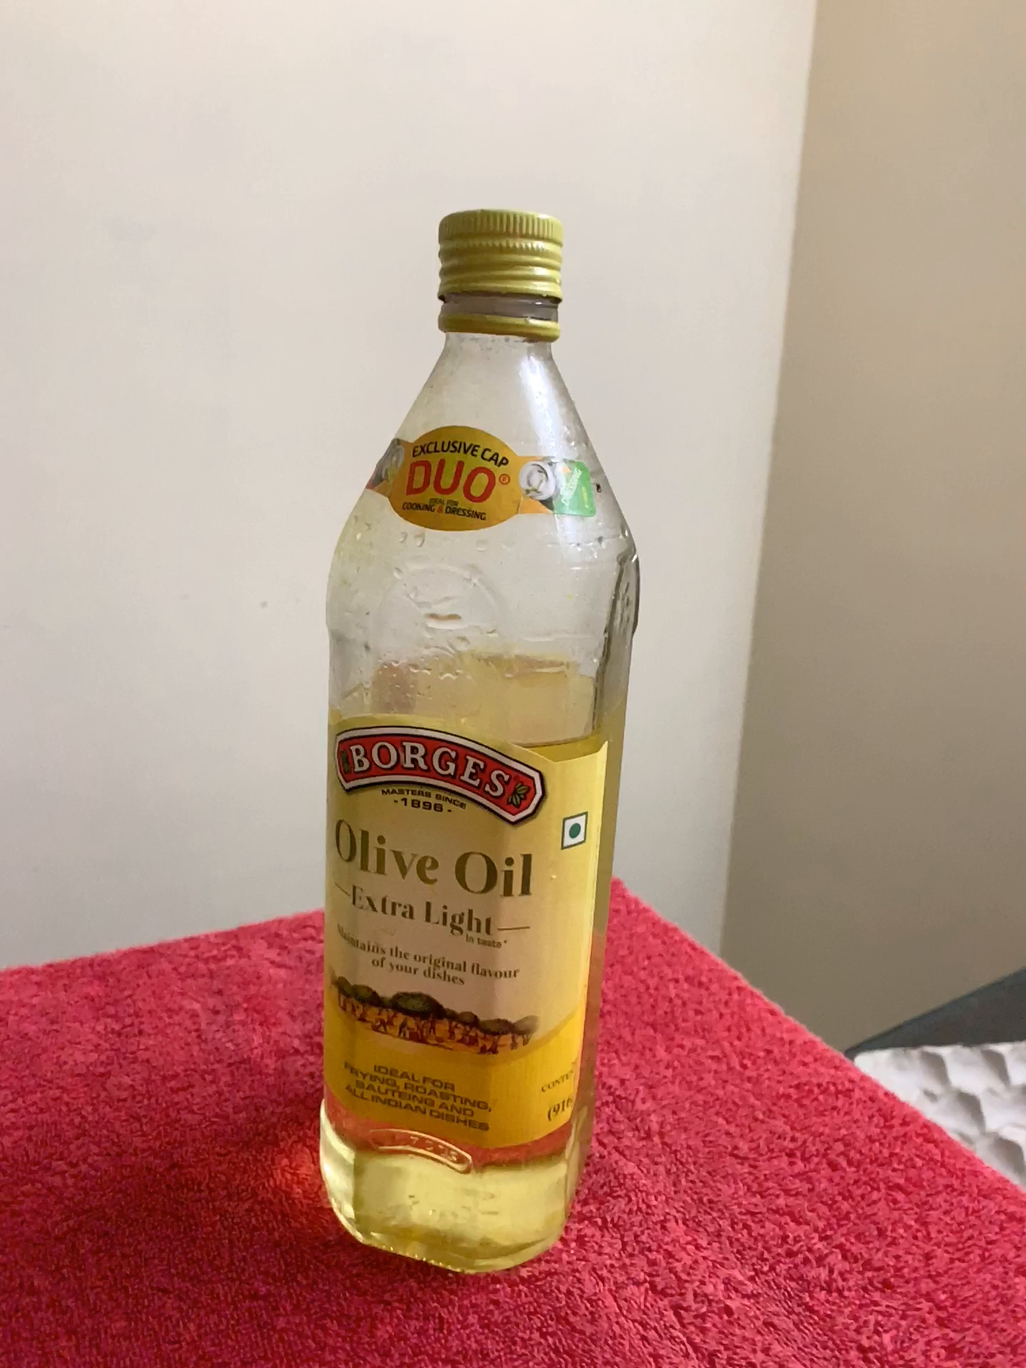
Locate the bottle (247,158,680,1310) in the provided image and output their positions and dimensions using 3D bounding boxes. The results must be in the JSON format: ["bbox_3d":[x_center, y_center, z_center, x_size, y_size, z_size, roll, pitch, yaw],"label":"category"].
[{"bbox_3d":[-0.014,0.016,0.283,0.080,0.269,0.070,8,16,19],"label":"bottle"}]
